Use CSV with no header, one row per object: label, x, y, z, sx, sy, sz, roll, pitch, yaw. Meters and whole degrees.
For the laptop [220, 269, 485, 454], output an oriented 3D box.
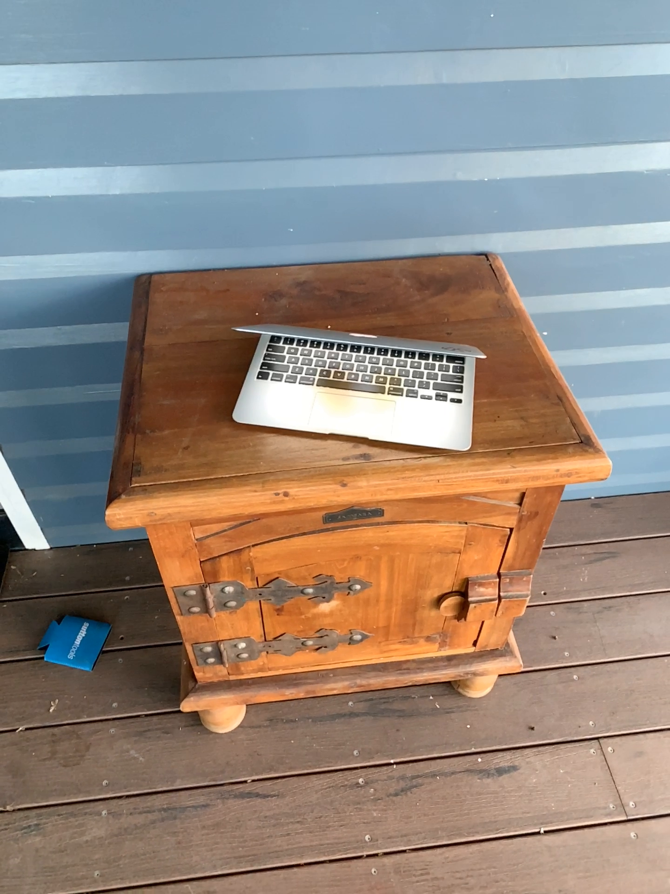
laptop,0.028,-0.109,0.829,0.282,0.099,0.180,7,48,7
